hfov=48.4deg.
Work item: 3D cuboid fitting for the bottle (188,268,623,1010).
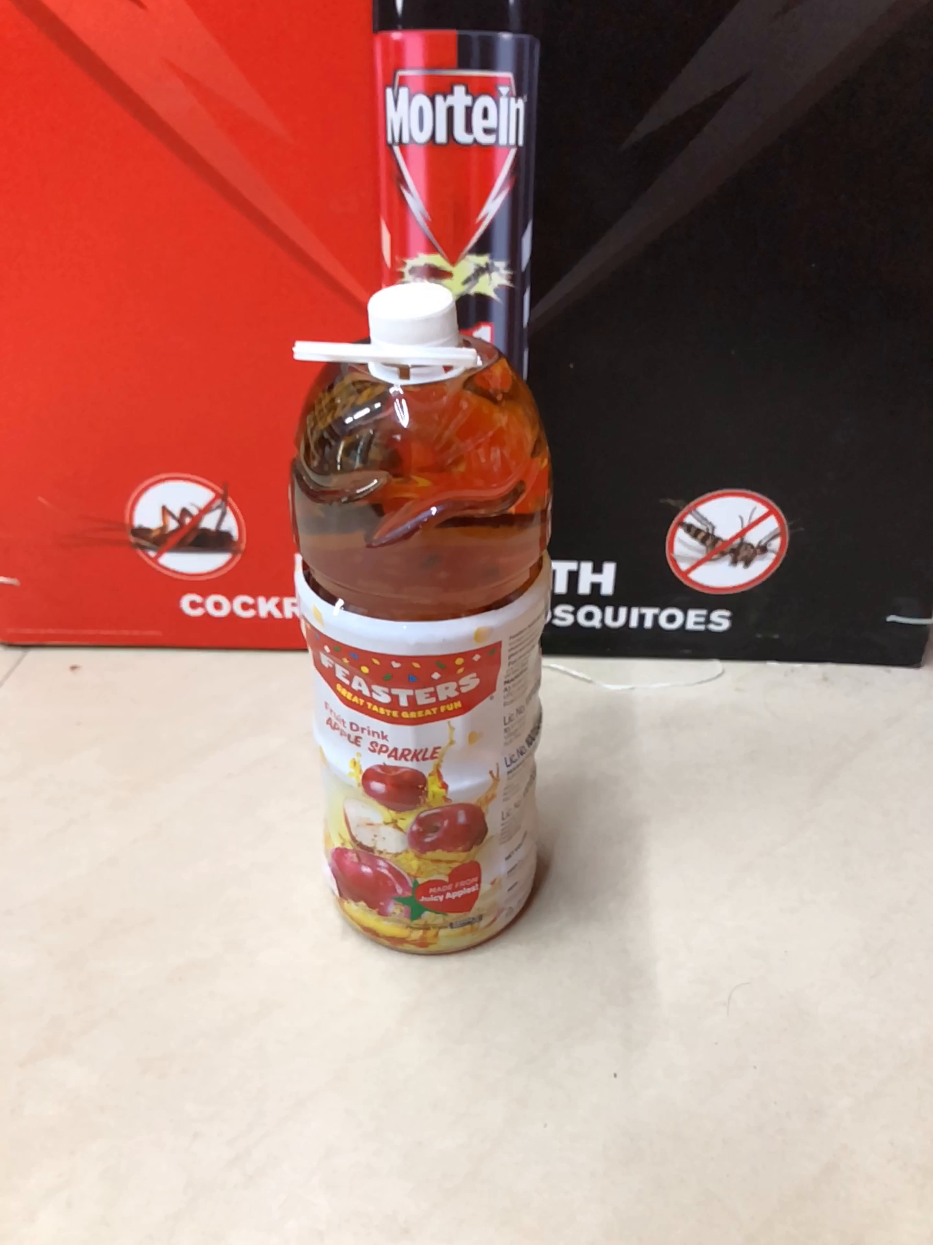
[{"bbox_3d":[-0.014,0.014,0.428,0.120,0.278,0.101,9,34,15],"label":"bottle"}]
